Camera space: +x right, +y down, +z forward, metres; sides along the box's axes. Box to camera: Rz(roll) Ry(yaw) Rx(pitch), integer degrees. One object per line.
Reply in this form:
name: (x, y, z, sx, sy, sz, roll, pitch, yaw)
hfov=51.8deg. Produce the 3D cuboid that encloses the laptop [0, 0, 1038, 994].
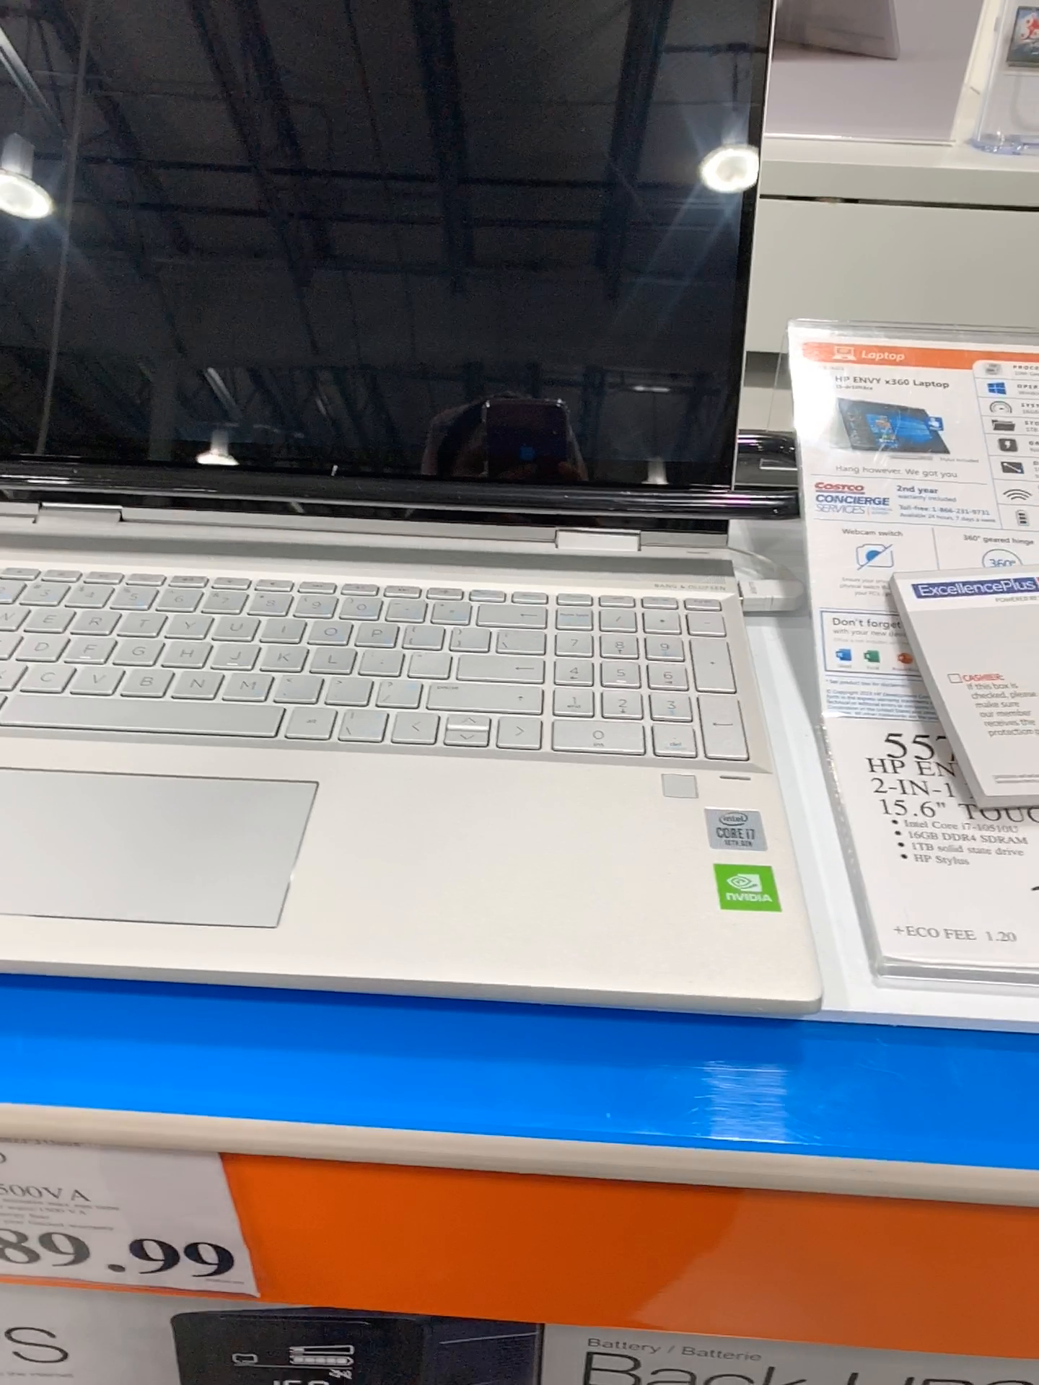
laptop: (-0.083, -0.113, 0.357, 0.346, 0.209, 0.341, 2, 39, 1)
